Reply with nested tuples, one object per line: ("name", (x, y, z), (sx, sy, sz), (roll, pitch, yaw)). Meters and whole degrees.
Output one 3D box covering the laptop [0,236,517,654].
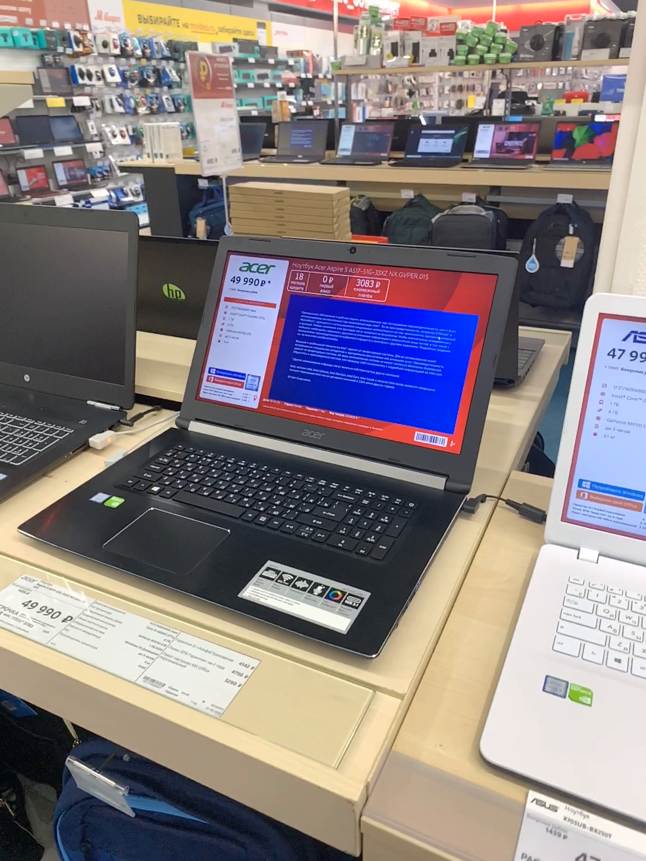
("laptop", (-0.053, -0.047, 0.752), (0.420, 0.235, 0.422), (12, 30, 25))
